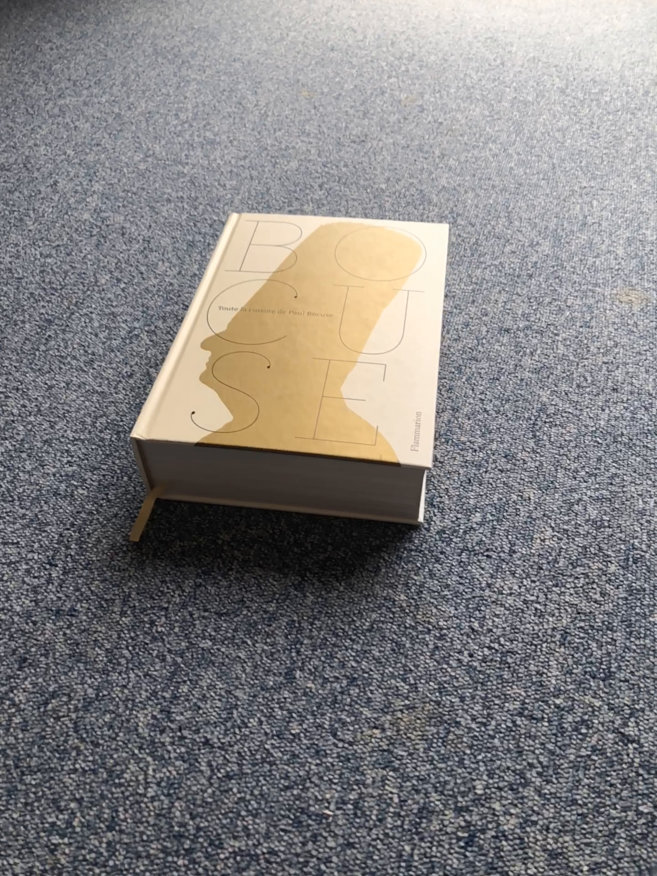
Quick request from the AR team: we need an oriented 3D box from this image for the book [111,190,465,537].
[{"bbox_3d":[-0.008,-0.075,0.543,0.200,0.080,0.282,6,47,7],"label":"book"}]
